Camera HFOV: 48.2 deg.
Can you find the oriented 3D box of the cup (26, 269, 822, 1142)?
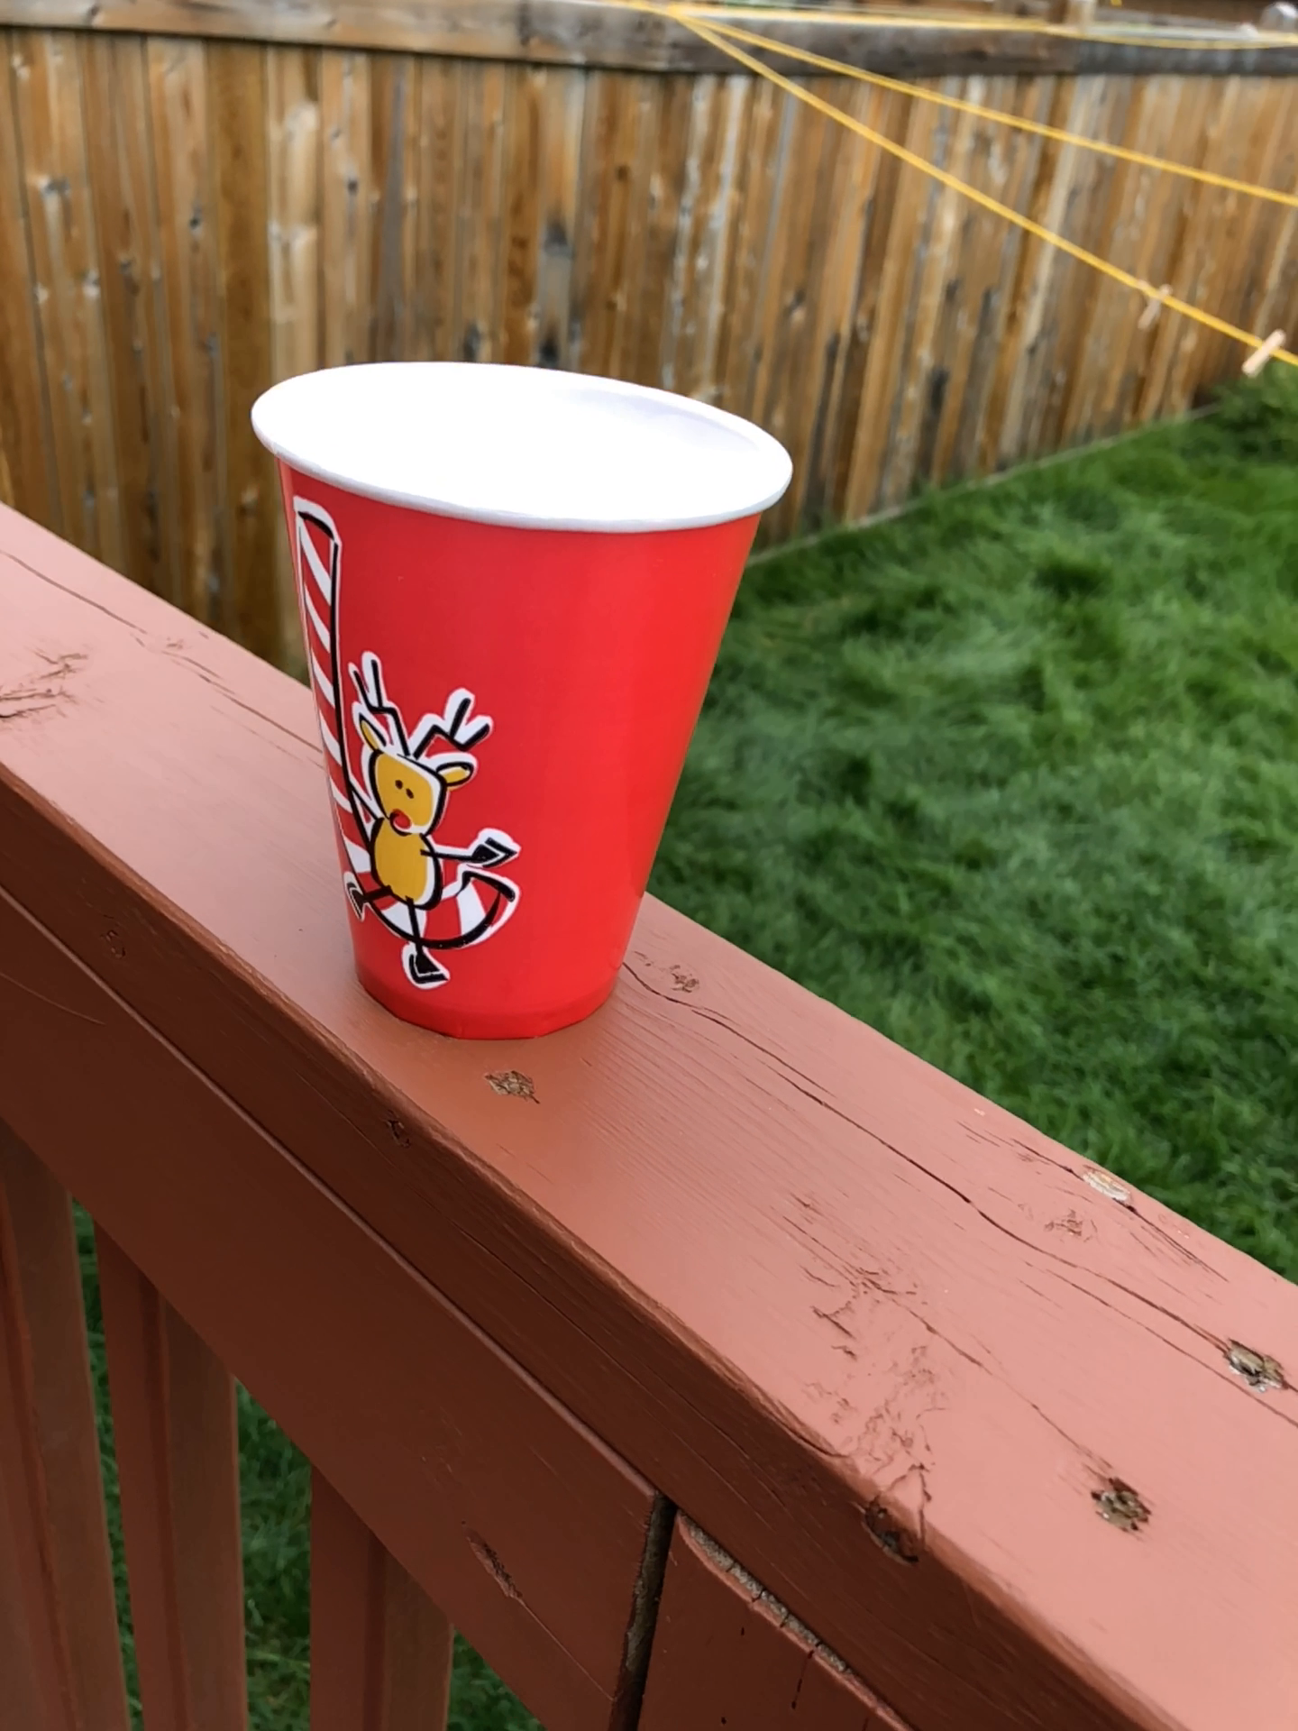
[{"bbox_3d":[-0.032,-0.032,0.232,0.080,0.100,0.080,5,31,-3],"label":"cup"}]
